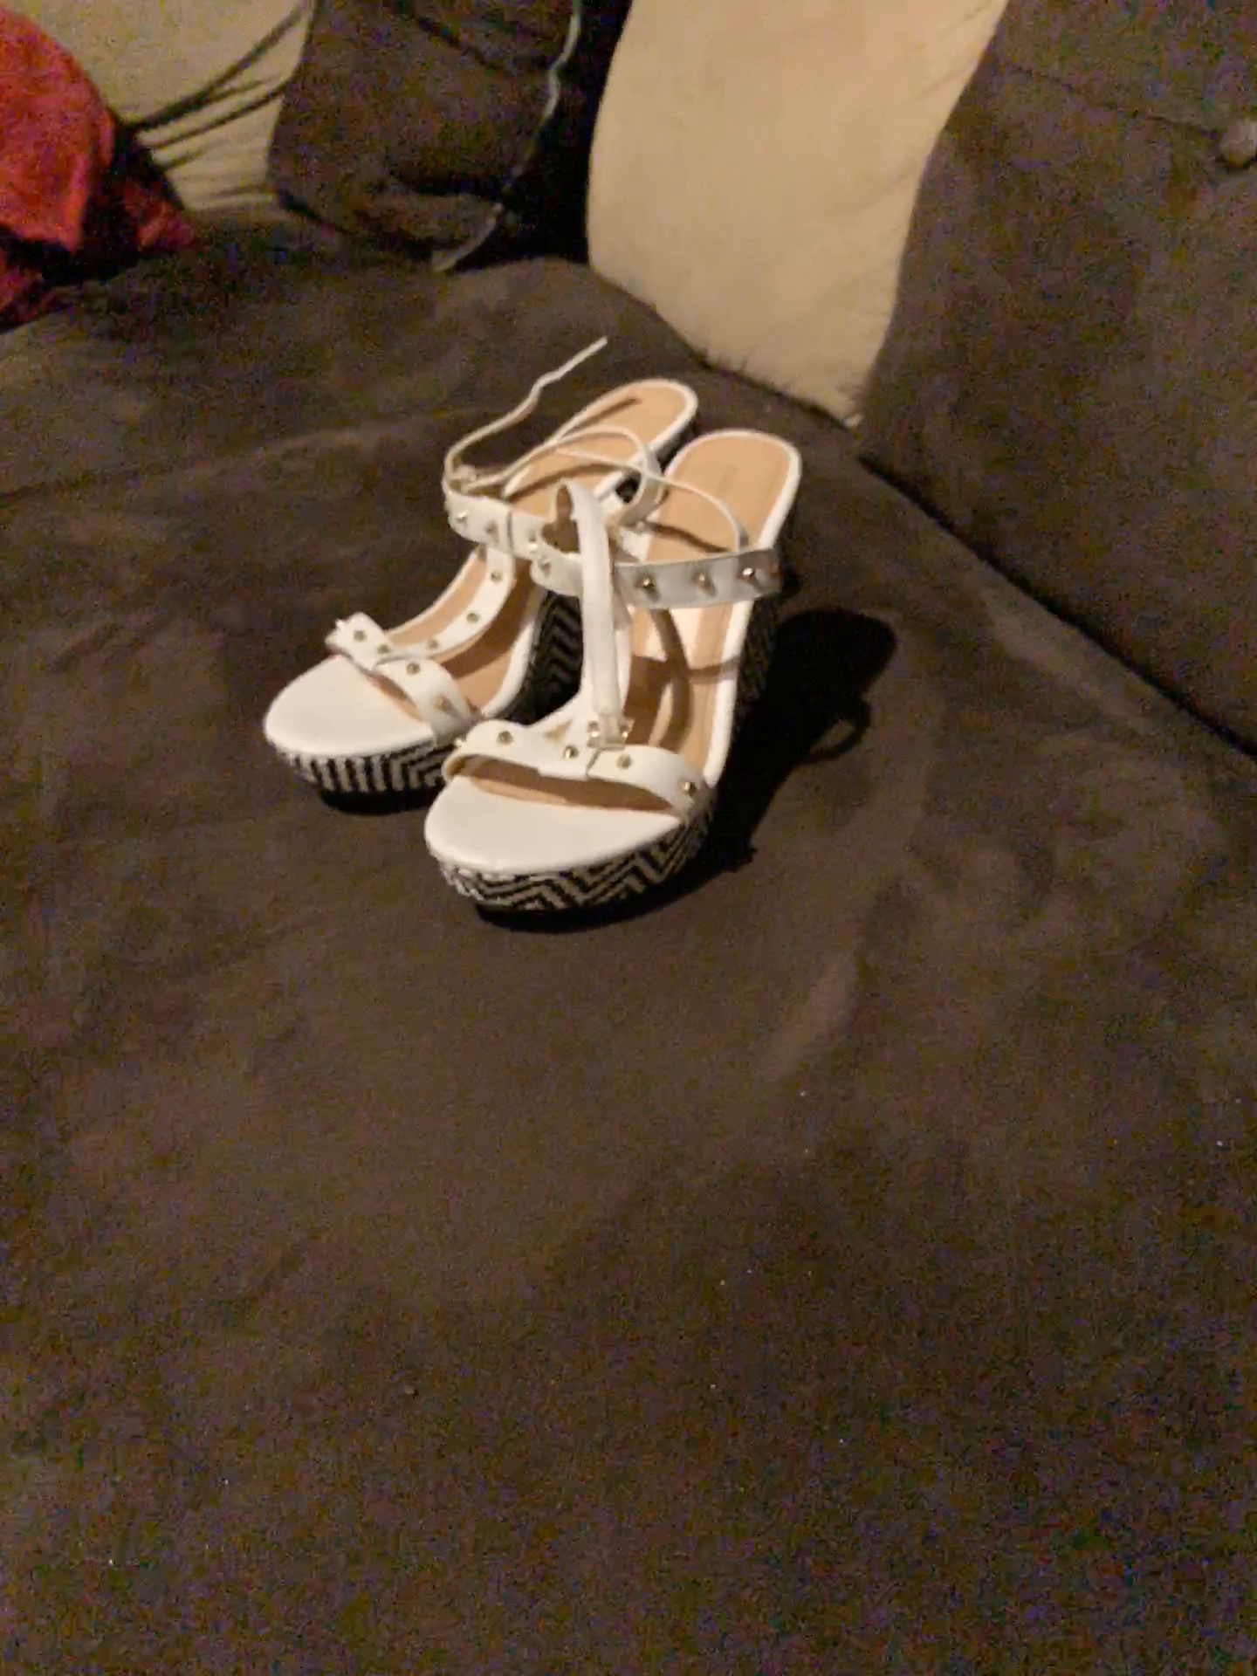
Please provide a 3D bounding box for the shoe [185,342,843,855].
[{"bbox_3d":[-0.040,-0.117,0.574,0.260,0.099,0.110,-31,52,-30],"label":"shoe"}]

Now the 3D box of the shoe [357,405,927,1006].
[{"bbox_3d":[0.017,-0.068,0.518,0.100,0.099,0.251,23,46,21],"label":"shoe"}]
